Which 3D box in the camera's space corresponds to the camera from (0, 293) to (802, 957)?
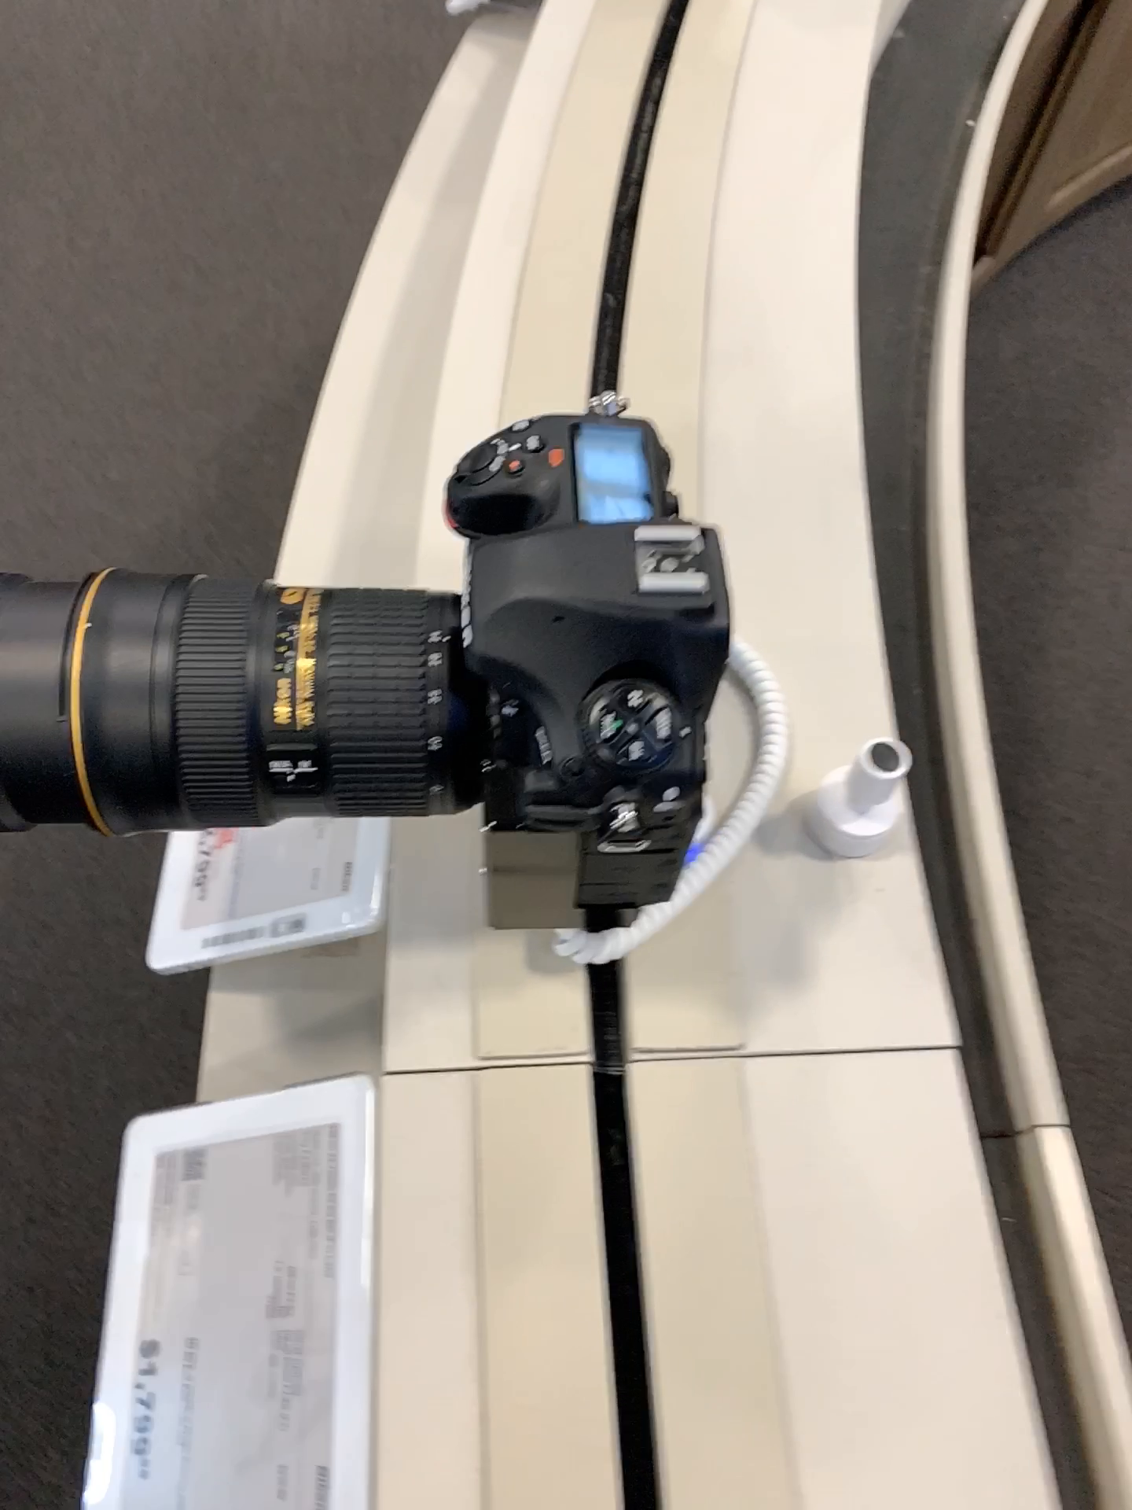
[{"bbox_3d":[-0.071,-0.035,0.353,0.240,0.110,0.161,0,61,-5],"label":"camera"}]
